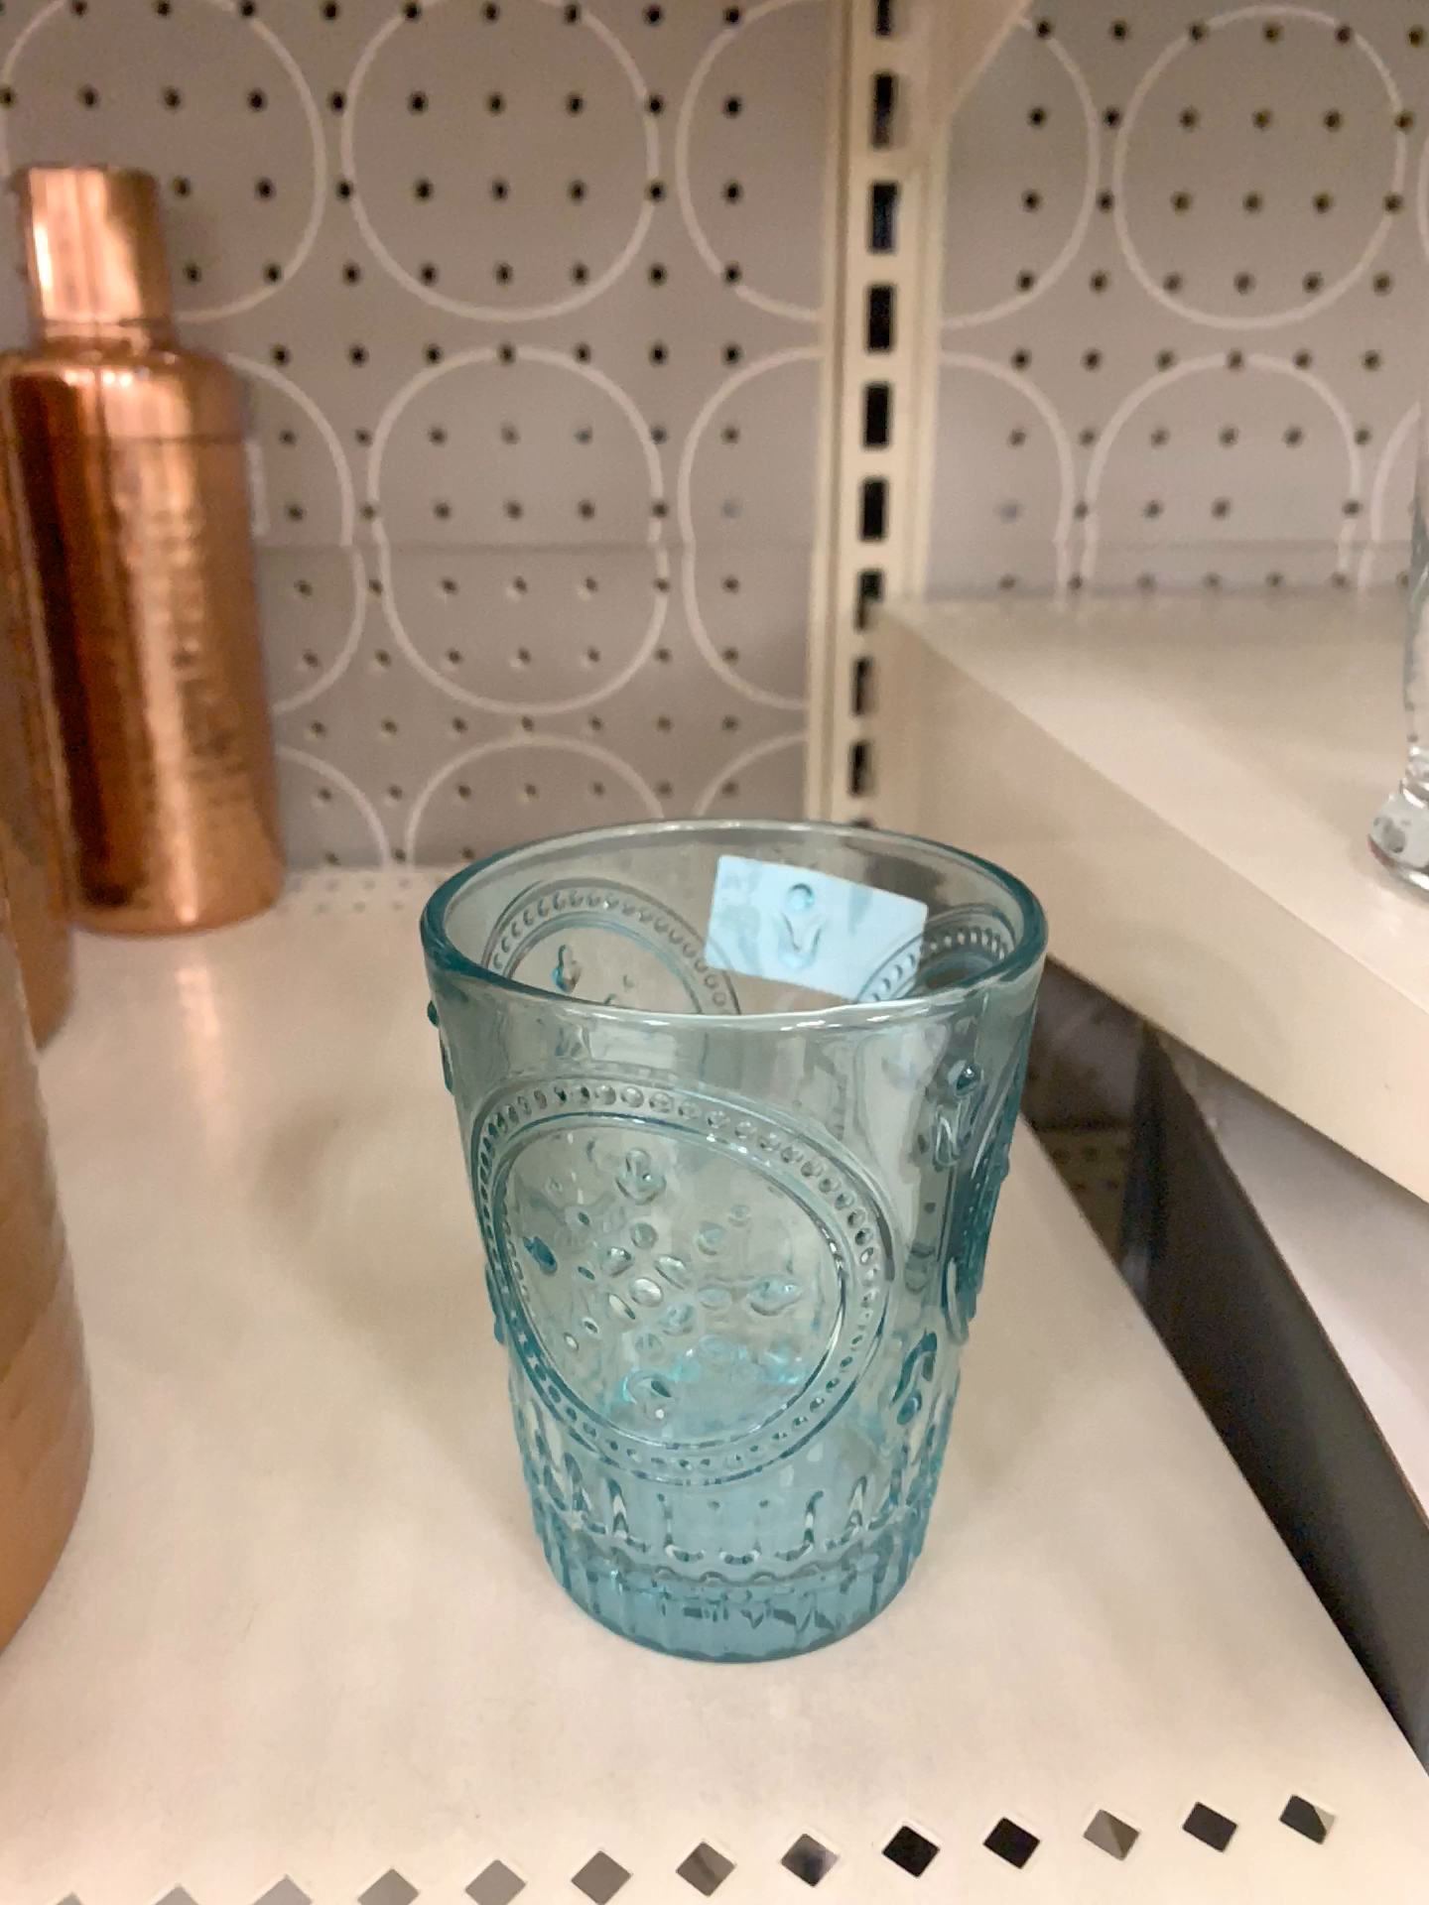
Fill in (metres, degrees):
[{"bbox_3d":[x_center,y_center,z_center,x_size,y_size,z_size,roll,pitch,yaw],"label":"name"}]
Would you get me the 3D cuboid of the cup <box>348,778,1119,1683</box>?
[{"bbox_3d":[0.000,0.032,0.203,0.078,0.091,0.076,0,22,0],"label":"cup"}]
